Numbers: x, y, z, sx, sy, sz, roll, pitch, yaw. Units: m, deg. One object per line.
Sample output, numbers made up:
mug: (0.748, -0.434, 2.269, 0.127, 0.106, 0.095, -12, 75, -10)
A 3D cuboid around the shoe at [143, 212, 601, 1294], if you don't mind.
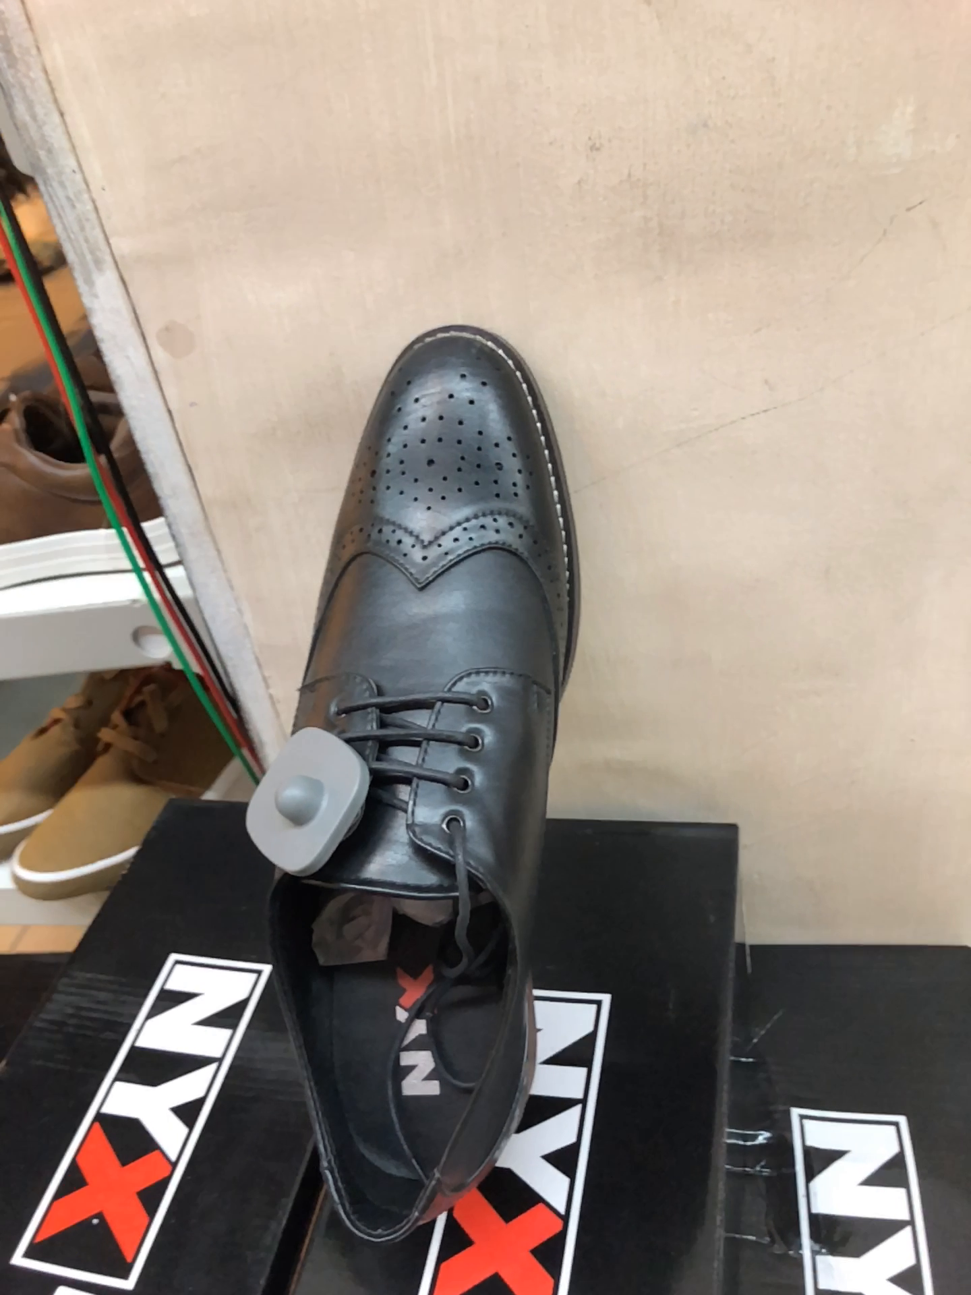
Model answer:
shoe: (-0.027, 0.027, 0.357, 0.106, 0.297, 0.106, 2, -4, 13)
